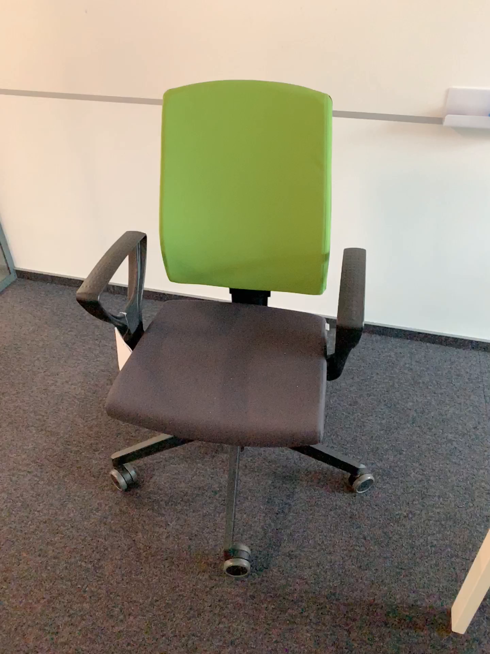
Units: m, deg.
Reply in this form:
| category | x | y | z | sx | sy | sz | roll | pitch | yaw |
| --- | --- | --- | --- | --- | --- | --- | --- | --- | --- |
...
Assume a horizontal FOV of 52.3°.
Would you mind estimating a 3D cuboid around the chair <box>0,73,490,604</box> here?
| category | x | y | z | sx | sy | sz | roll | pitch | yaw |
| --- | --- | --- | --- | --- | --- | --- | --- | --- | --- |
| chair | -0.005 | 0.004 | 1.209 | 0.760 | 0.964 | 0.734 | 6 | 38 | 8 |
